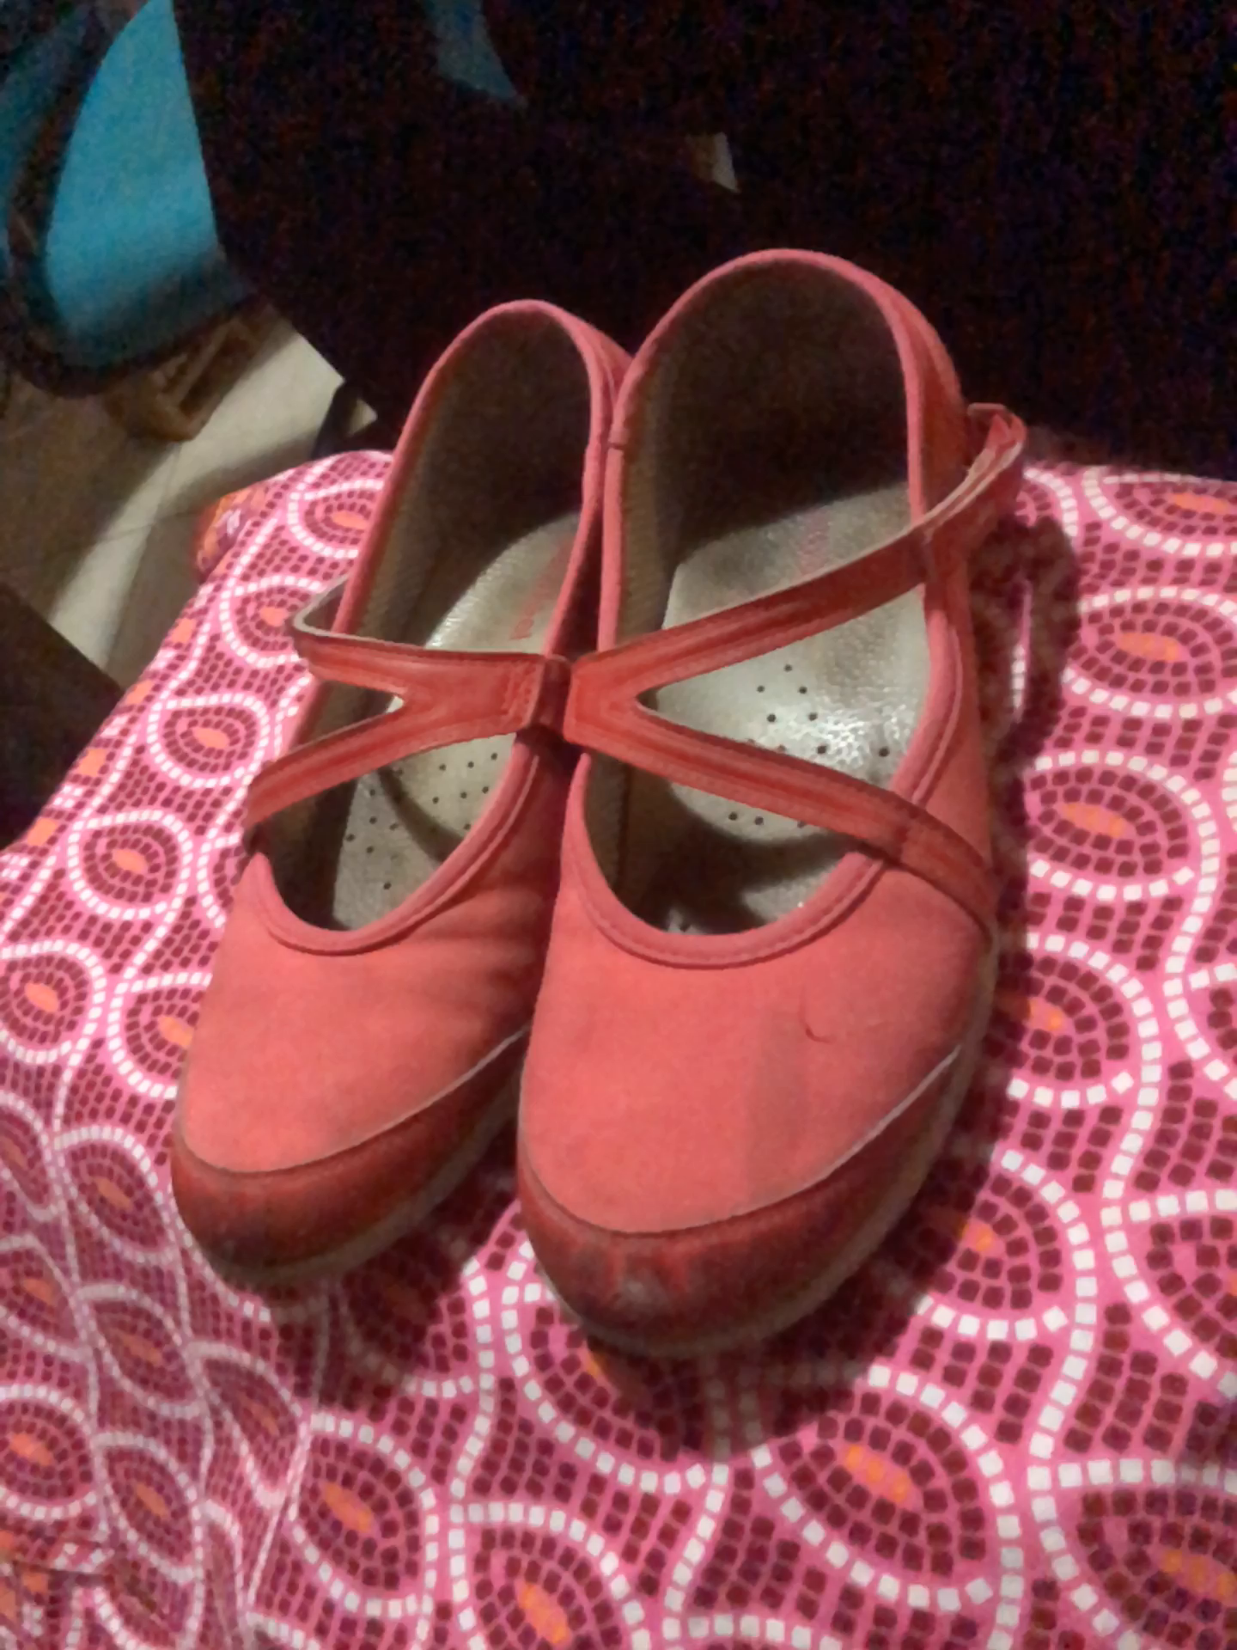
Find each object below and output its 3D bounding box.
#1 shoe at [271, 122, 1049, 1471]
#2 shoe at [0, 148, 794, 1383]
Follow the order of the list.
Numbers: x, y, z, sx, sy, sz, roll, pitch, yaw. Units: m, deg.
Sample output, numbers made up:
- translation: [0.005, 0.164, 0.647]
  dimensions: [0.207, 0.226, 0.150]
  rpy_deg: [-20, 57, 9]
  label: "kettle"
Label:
- translation: [0.035, -0.021, 0.336]
  dimensions: [0.110, 0.099, 0.301]
  rpy_deg: [-3, 58, 26]
  label: "shoe"
- translation: [-0.044, -0.027, 0.354]
  dimensions: [0.110, 0.099, 0.291]
  rpy_deg: [-1, 58, 27]
  label: "shoe"
